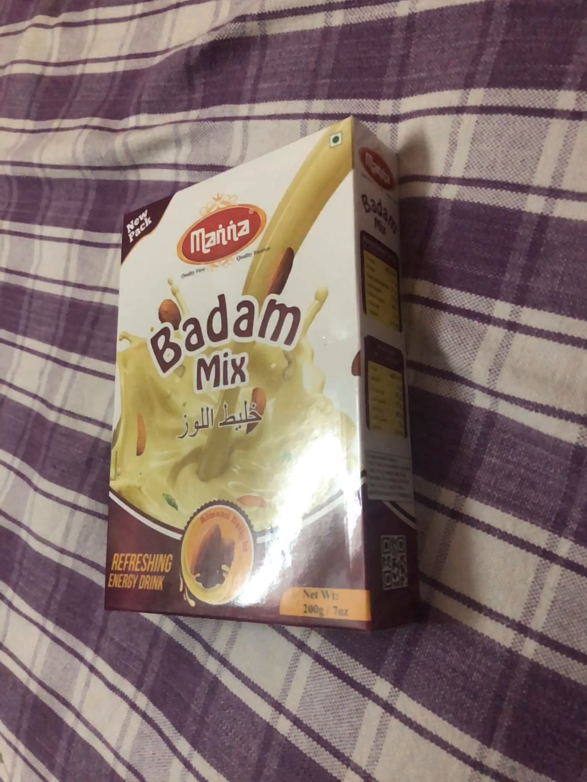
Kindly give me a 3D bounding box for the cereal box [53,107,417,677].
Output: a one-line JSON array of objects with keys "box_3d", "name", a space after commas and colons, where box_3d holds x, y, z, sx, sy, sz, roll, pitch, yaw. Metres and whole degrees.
[{"box_3d": [-0.025, 0.003, 0.257, 0.130, 0.050, 0.180, -8, 75, 34], "name": "cereal box"}]
